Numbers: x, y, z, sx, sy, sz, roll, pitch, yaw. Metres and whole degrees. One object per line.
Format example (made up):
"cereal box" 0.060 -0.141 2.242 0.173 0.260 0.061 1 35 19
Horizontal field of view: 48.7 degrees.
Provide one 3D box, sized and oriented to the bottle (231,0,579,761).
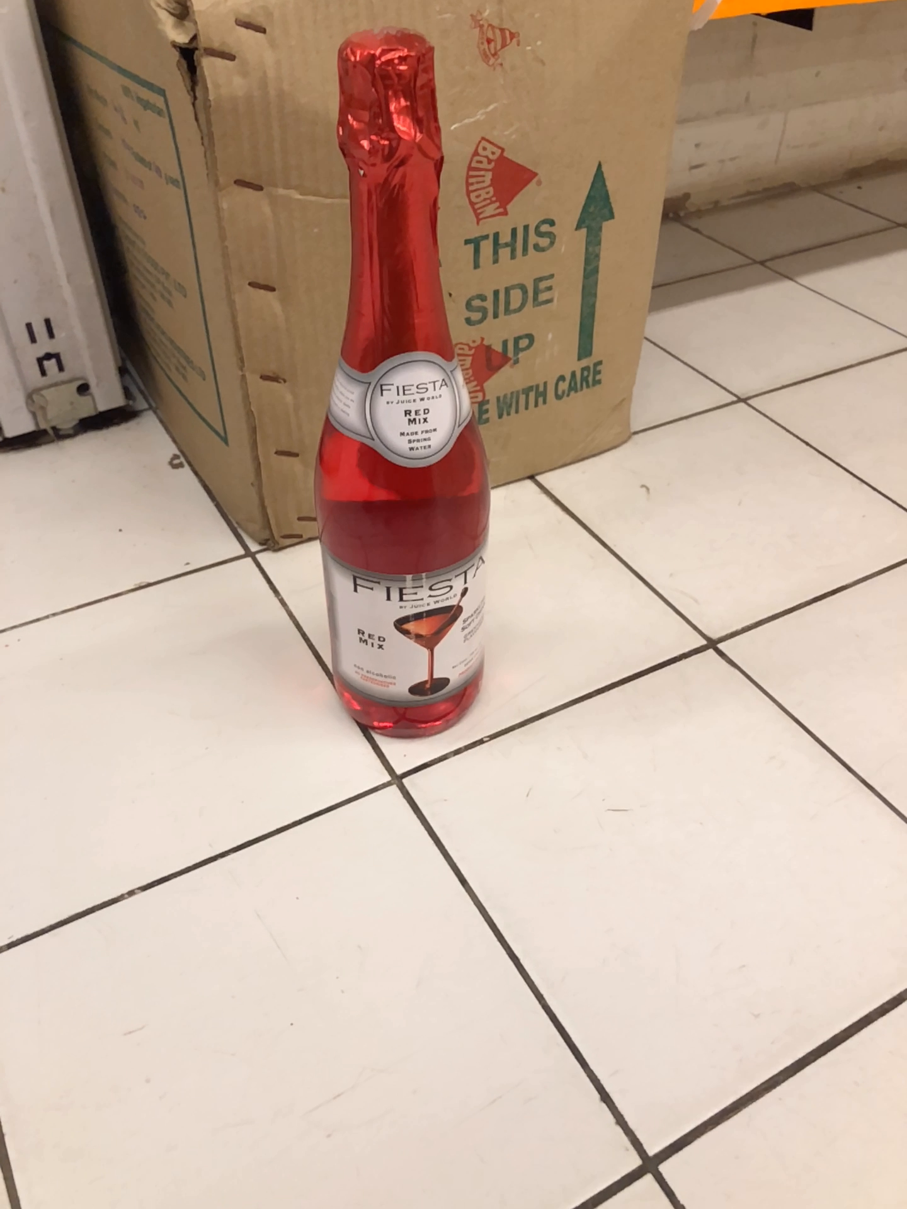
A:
"bottle" -0.020 -0.074 0.423 0.090 0.298 0.080 -16 43 -18
